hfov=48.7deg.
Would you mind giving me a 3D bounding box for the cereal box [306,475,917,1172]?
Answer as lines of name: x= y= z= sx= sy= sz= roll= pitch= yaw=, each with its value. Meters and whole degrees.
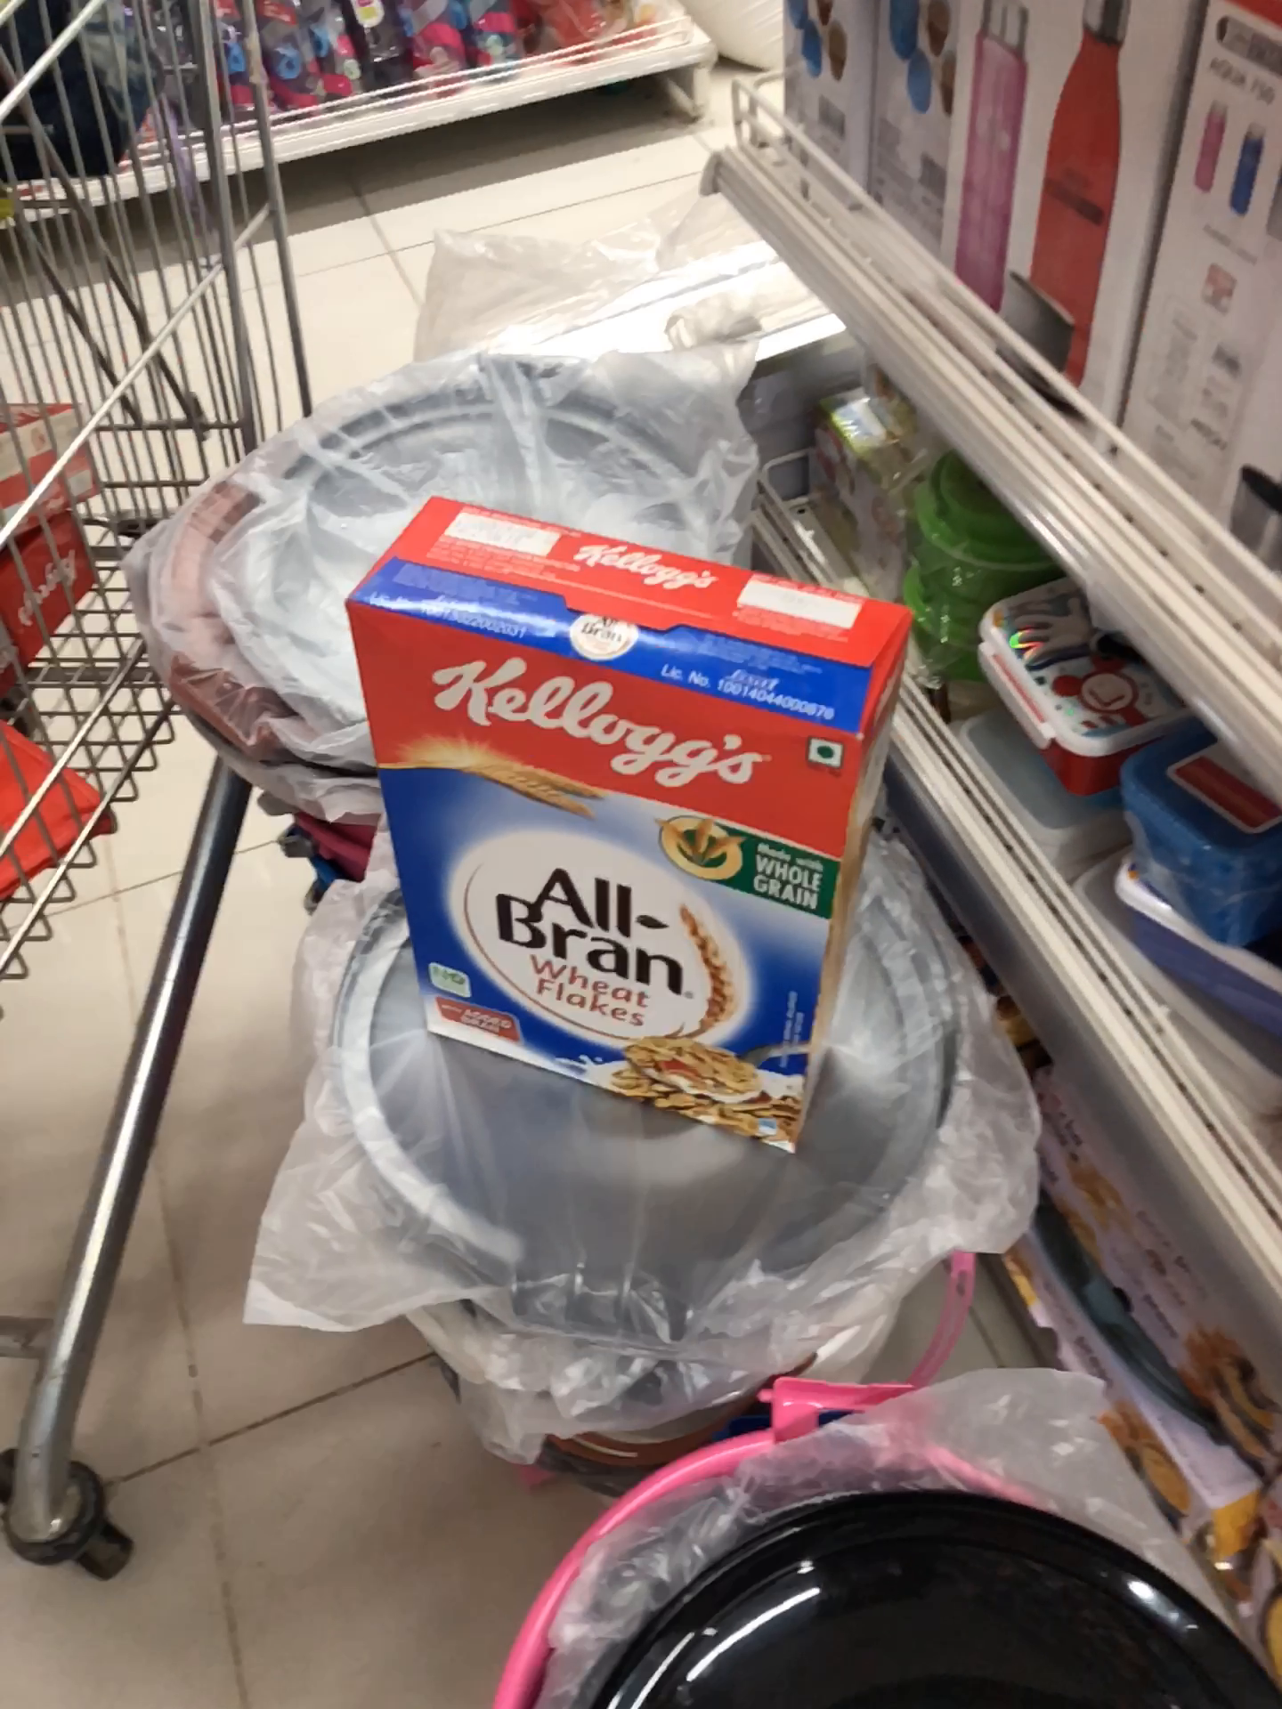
cereal box: x=-0.008 y=0.001 z=0.569 sx=0.190 sy=0.269 sz=0.070 roll=16 pitch=51 yaw=15
